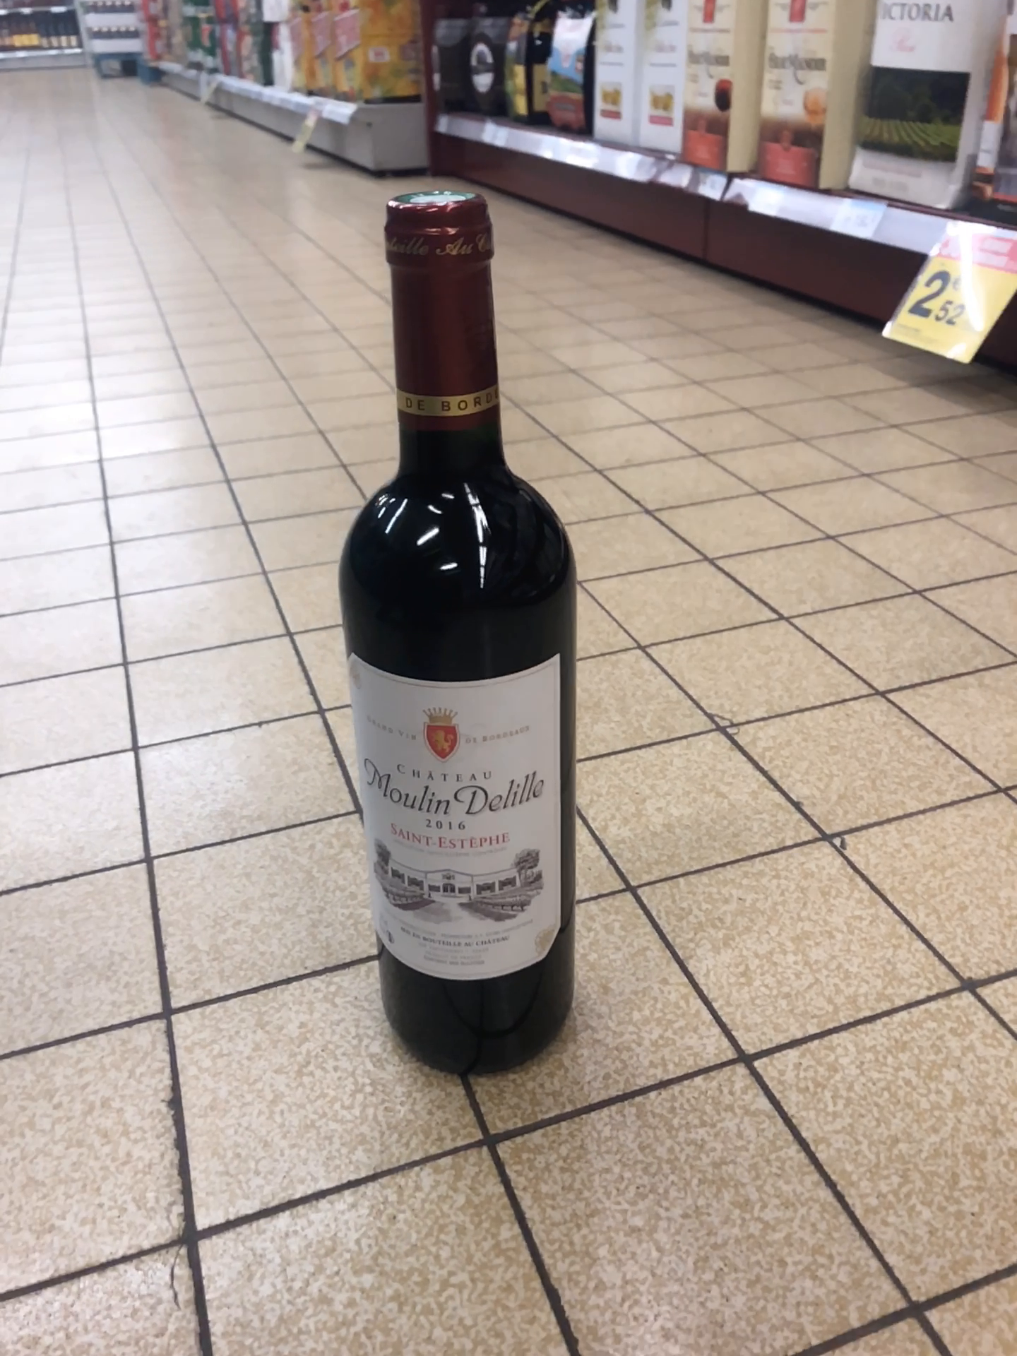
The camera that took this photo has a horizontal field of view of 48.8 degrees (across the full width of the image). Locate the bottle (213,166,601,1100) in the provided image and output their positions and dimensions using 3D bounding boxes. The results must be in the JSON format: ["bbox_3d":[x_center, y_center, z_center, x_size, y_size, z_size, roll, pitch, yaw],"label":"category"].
[{"bbox_3d":[-0.017,-0.002,0.351,0.080,0.281,0.081,-1,29,1],"label":"bottle"}]
